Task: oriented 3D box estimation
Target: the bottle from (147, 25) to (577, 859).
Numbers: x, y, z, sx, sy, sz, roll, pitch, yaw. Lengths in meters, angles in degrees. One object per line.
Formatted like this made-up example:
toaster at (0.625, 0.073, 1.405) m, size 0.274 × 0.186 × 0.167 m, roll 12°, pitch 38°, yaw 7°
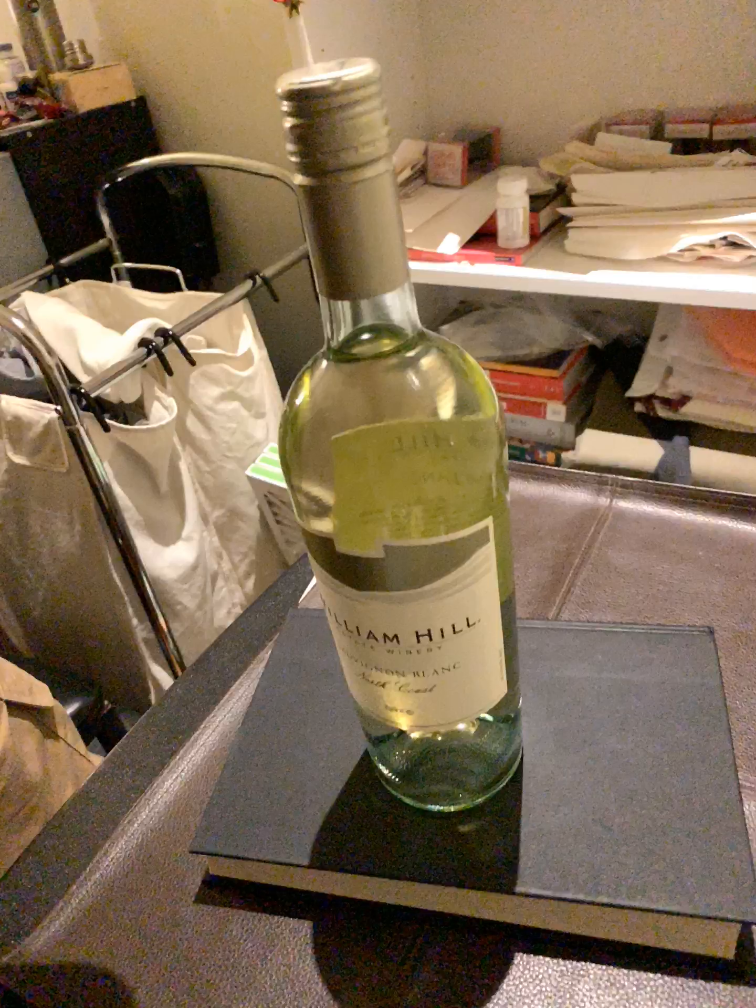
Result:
bottle at (0.020, -0.001, 0.302) m, size 0.090 × 0.298 × 0.090 m, roll -7°, pitch 35°, yaw 5°
